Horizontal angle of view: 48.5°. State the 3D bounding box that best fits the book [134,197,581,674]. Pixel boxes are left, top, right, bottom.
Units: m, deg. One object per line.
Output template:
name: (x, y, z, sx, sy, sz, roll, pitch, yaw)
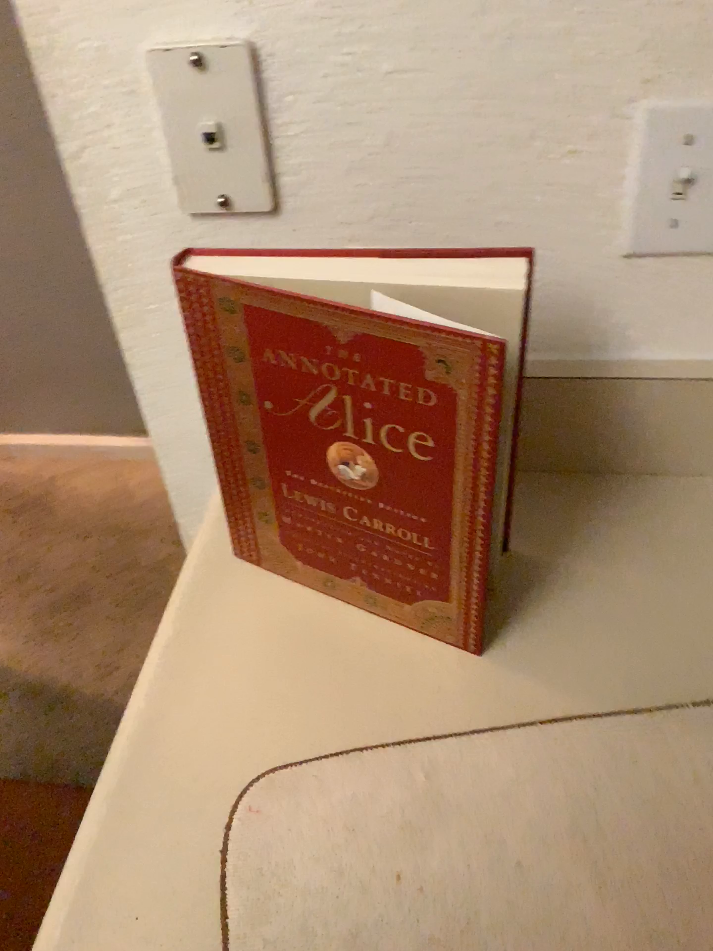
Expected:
book: (0.013, -0.032, 0.564, 0.230, 0.260, 0.150, 14, 44, 22)
